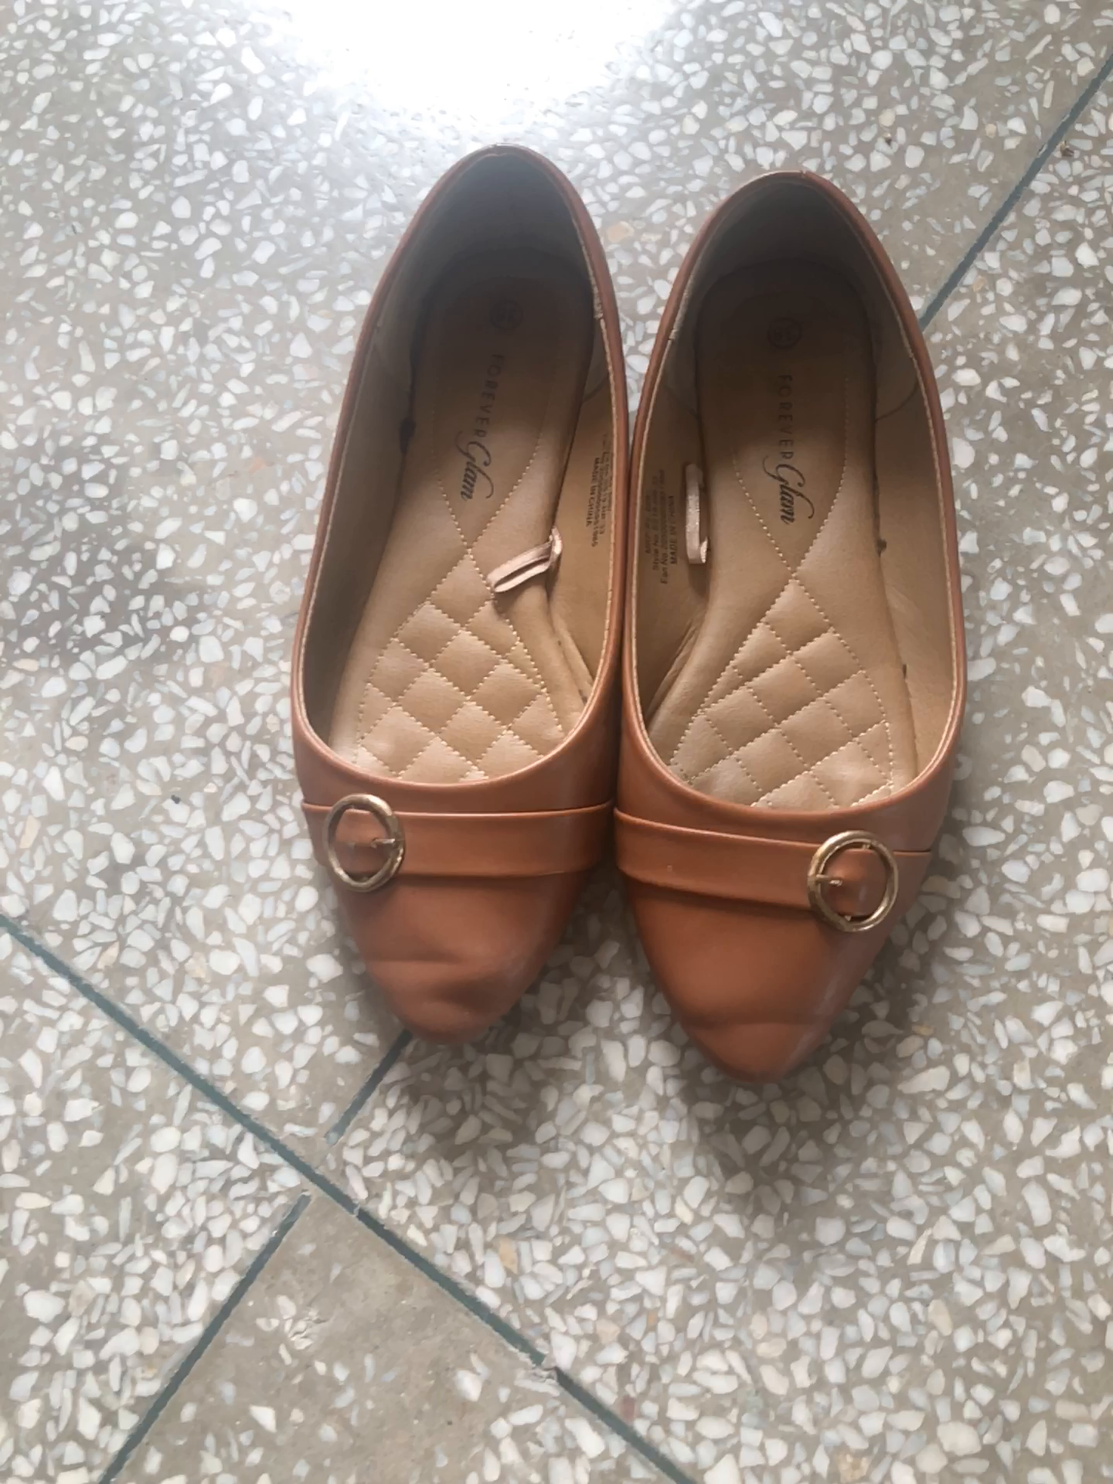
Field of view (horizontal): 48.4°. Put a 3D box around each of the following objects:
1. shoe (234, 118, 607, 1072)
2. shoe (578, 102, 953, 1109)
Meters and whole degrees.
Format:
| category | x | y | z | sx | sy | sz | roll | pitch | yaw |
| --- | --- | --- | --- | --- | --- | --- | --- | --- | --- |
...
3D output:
| category | x | y | z | sx | sy | sz | roll | pitch | yaw |
| --- | --- | --- | --- | --- | --- | --- | --- | --- | --- |
| shoe | -0.036 | -0.040 | 0.356 | 0.090 | 0.050 | 0.250 | 1 | 88 | 10 |
| shoe | 0.057 | -0.035 | 0.339 | 0.090 | 0.050 | 0.250 | 1 | 88 | 10 |
